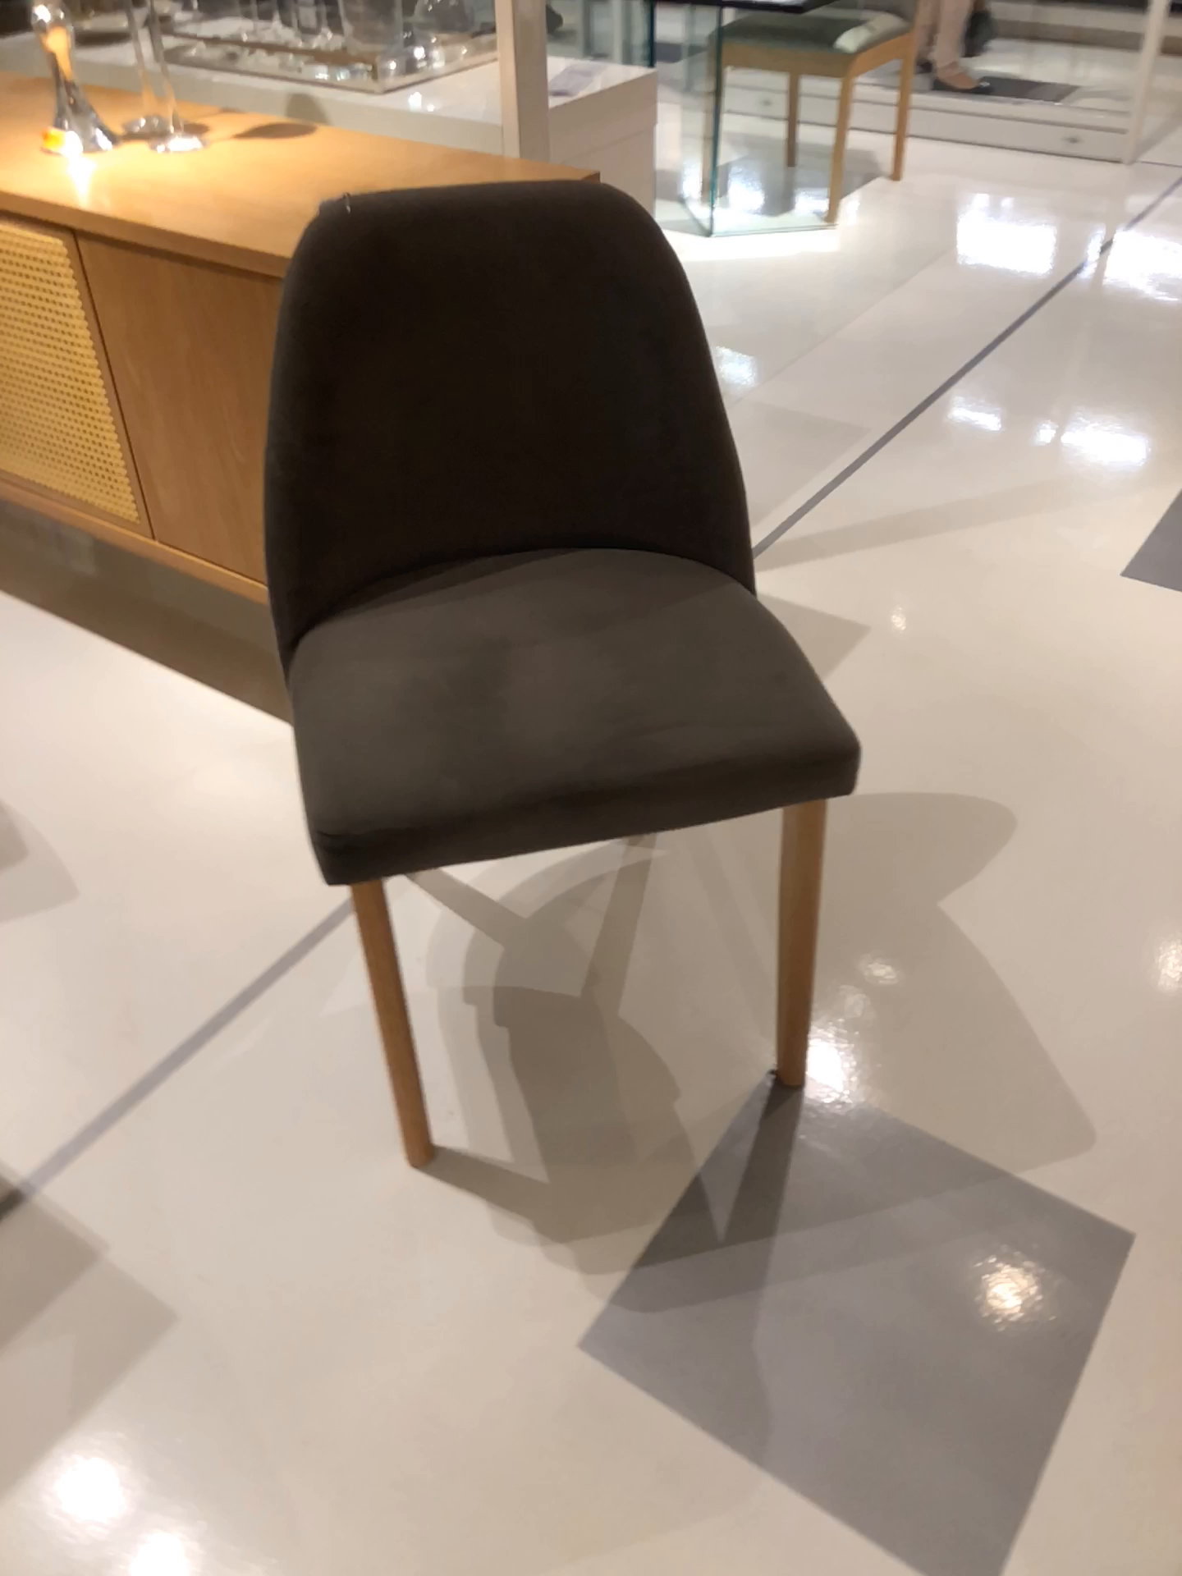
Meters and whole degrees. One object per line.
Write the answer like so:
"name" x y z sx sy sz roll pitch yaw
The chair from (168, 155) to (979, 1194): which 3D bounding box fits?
"chair" -0.048 -0.119 1.281 0.530 0.774 0.564 -9 39 -9
